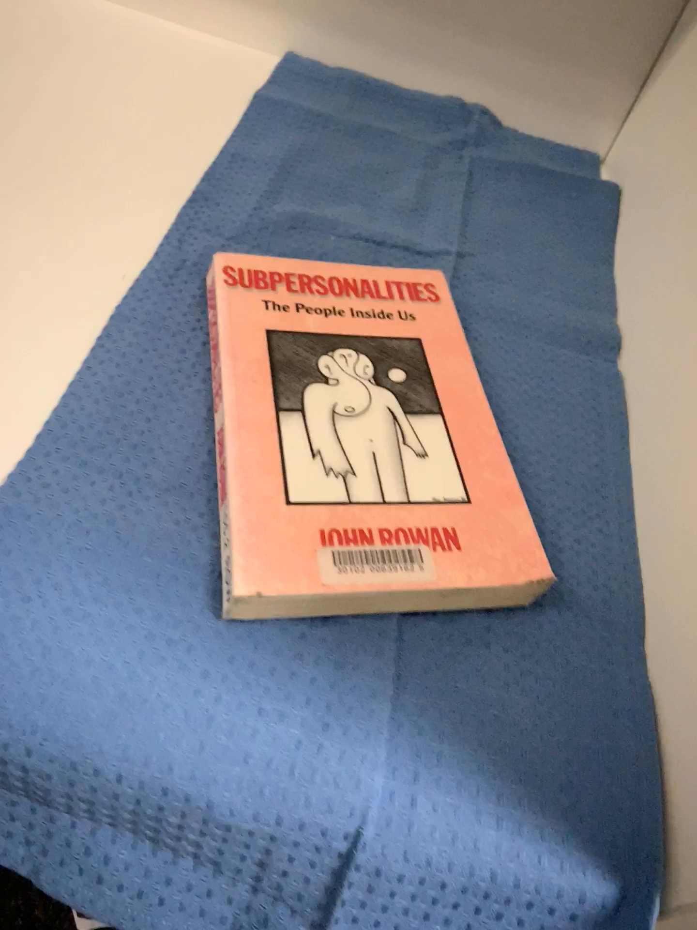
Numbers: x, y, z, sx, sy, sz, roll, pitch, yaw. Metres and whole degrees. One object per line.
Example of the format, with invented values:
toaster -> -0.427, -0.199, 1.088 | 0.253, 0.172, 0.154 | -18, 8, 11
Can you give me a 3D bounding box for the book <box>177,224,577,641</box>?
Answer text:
book -> -0.003, -0.031, 0.370 | 0.160, 0.040, 0.232 | 0, 52, -16
